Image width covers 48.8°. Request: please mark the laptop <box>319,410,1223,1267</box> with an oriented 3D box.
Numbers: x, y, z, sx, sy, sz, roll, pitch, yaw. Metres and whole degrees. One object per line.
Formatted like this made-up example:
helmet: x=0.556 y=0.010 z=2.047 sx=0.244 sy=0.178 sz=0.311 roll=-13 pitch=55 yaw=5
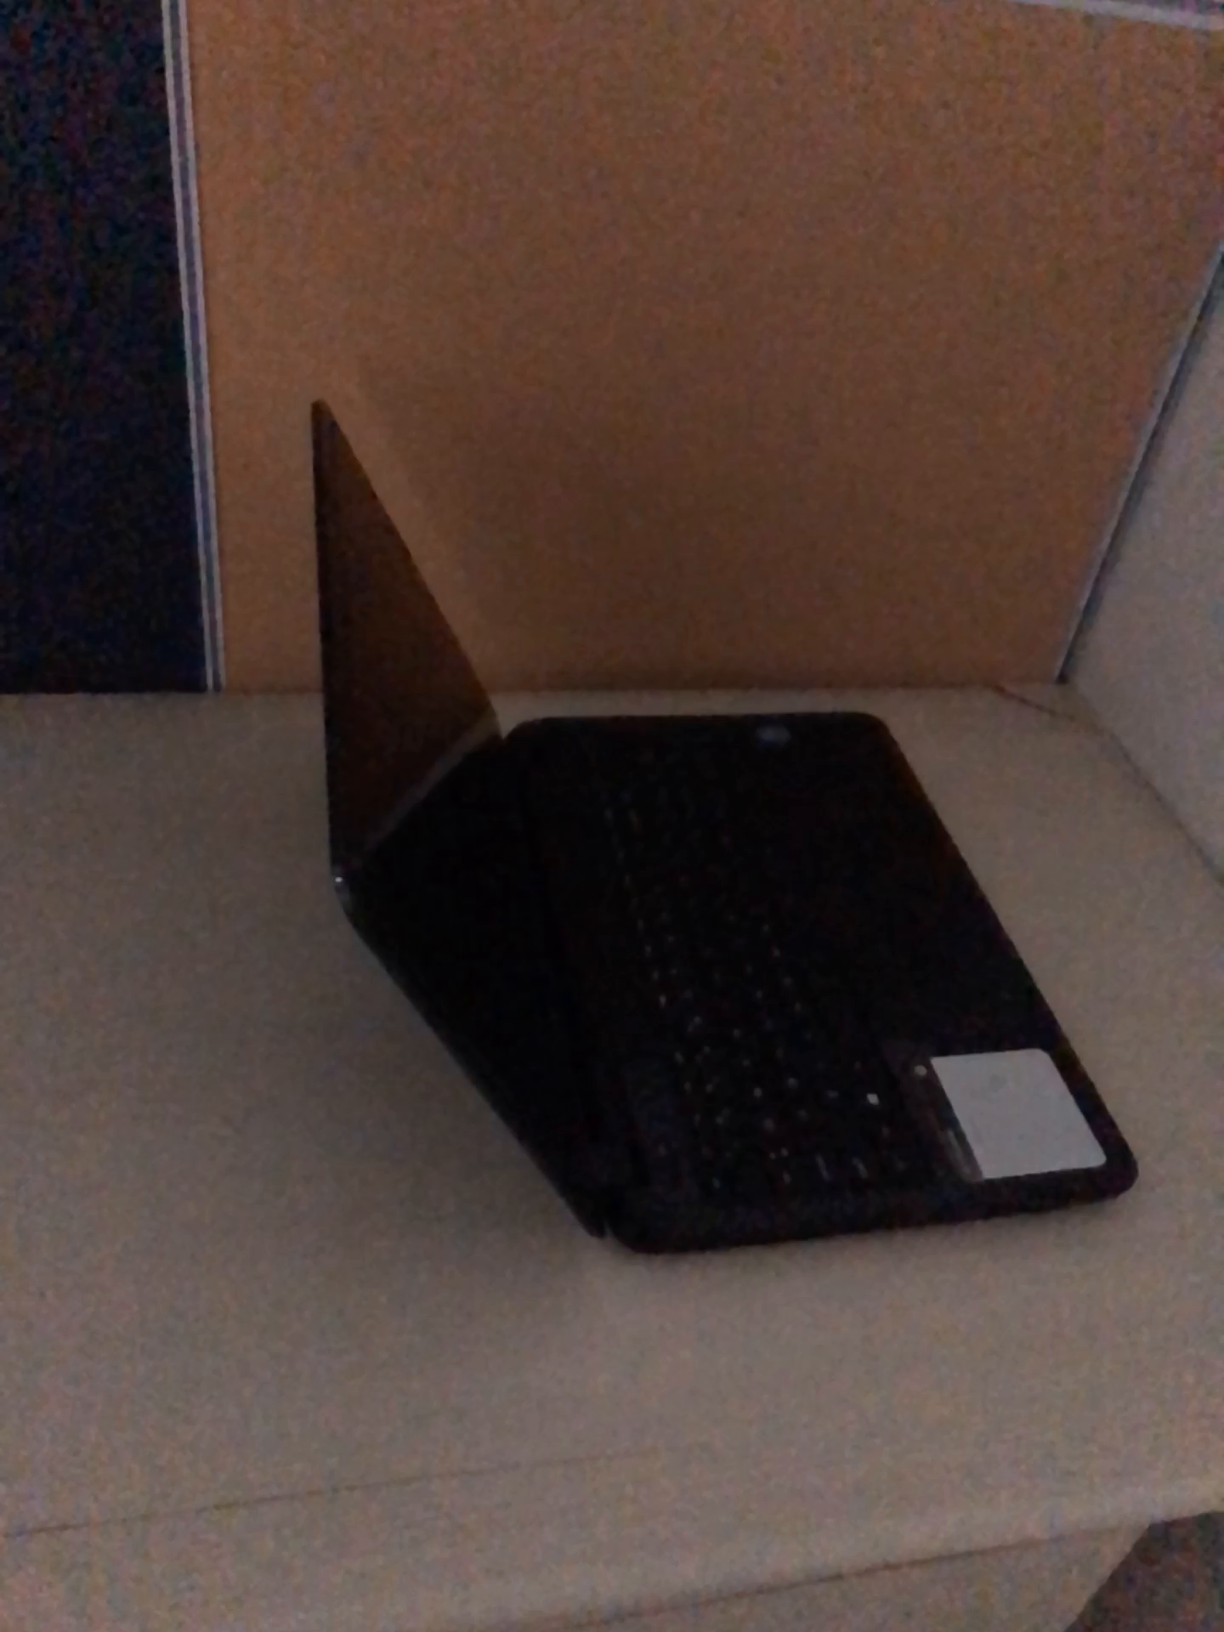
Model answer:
laptop: x=0.043 y=-0.021 z=0.656 sx=0.351 sy=0.205 sz=0.358 roll=-3 pitch=41 yaw=-12
